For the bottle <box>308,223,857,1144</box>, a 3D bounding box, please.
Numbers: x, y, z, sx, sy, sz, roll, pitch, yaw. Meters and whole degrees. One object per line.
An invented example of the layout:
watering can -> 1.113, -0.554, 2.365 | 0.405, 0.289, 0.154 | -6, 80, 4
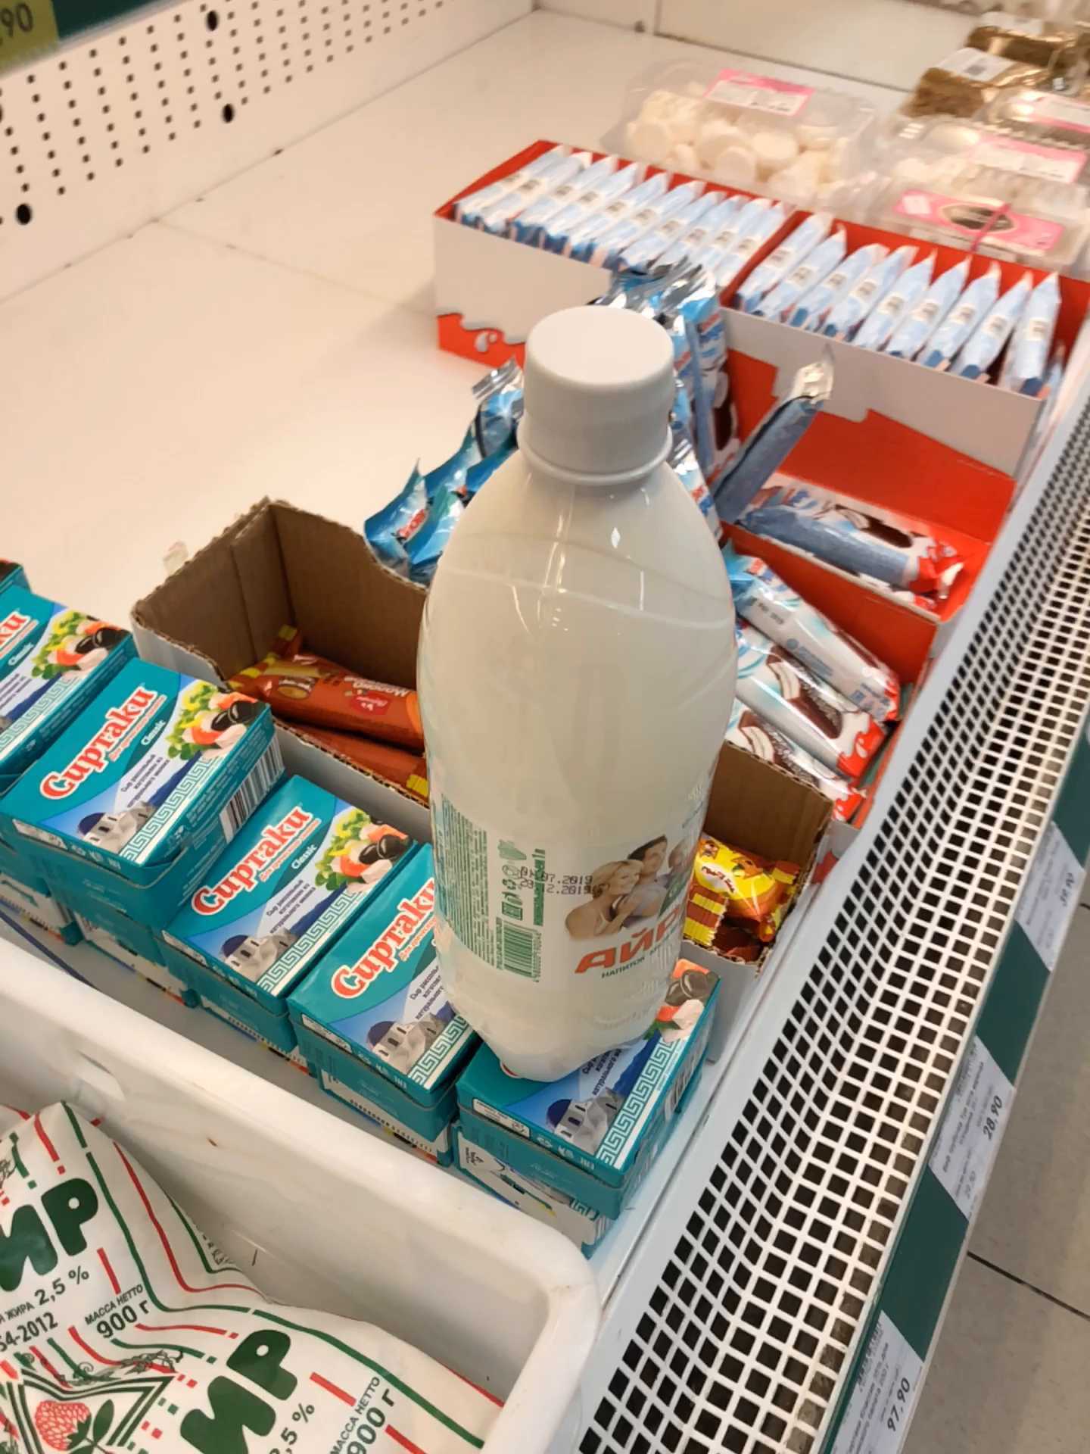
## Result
bottle -> 0.004, 0.009, 0.332 | 0.079, 0.250, 0.077 | 1, 48, -2
